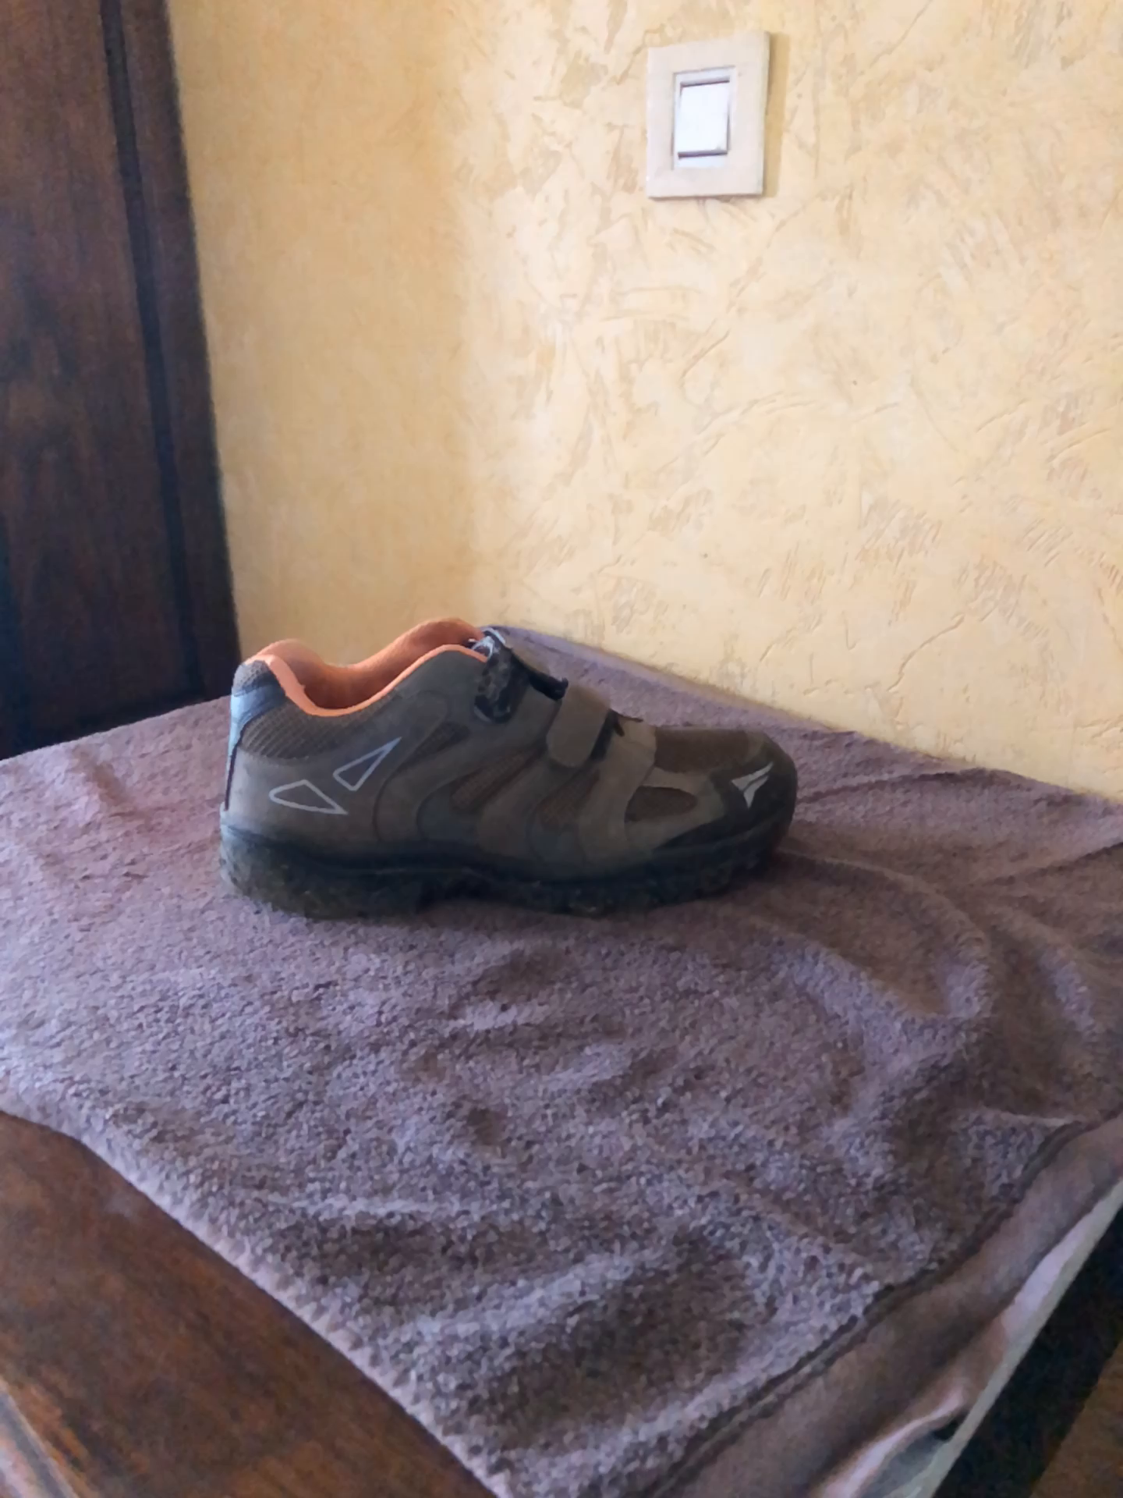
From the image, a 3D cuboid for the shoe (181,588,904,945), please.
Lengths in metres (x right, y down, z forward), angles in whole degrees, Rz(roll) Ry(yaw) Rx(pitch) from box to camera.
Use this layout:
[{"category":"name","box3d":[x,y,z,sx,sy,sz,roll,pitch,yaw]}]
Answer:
[{"category":"shoe","box3d":[-0.008,0.001,0.528,0.270,0.099,0.110,-4,22,-6]}]
